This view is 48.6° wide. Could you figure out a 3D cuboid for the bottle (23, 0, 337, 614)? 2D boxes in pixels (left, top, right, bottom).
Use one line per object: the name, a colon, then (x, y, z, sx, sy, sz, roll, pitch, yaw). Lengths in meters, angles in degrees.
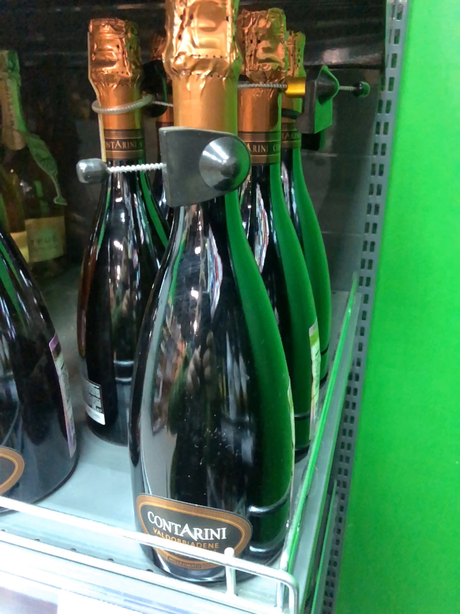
bottle: (-0.012, -0.003, 0.262, 0.100, 0.299, 0.100, 1, 20, 0)
